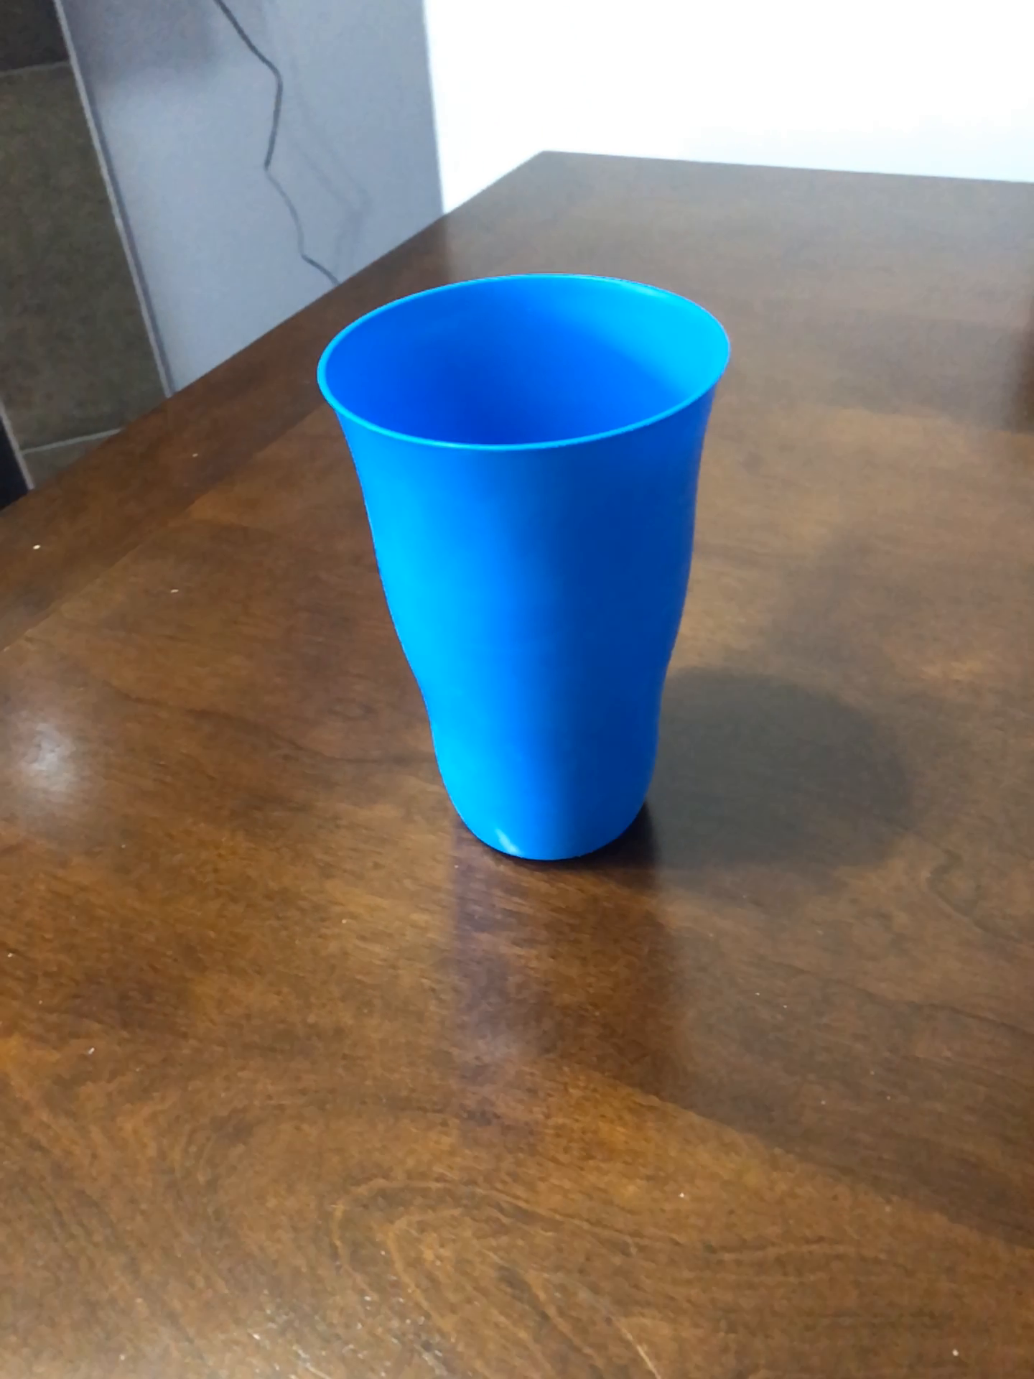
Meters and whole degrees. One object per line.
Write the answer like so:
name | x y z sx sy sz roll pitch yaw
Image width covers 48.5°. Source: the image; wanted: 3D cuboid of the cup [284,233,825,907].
cup | 0.006 -0.034 0.308 0.100 0.129 0.100 -3 39 2
